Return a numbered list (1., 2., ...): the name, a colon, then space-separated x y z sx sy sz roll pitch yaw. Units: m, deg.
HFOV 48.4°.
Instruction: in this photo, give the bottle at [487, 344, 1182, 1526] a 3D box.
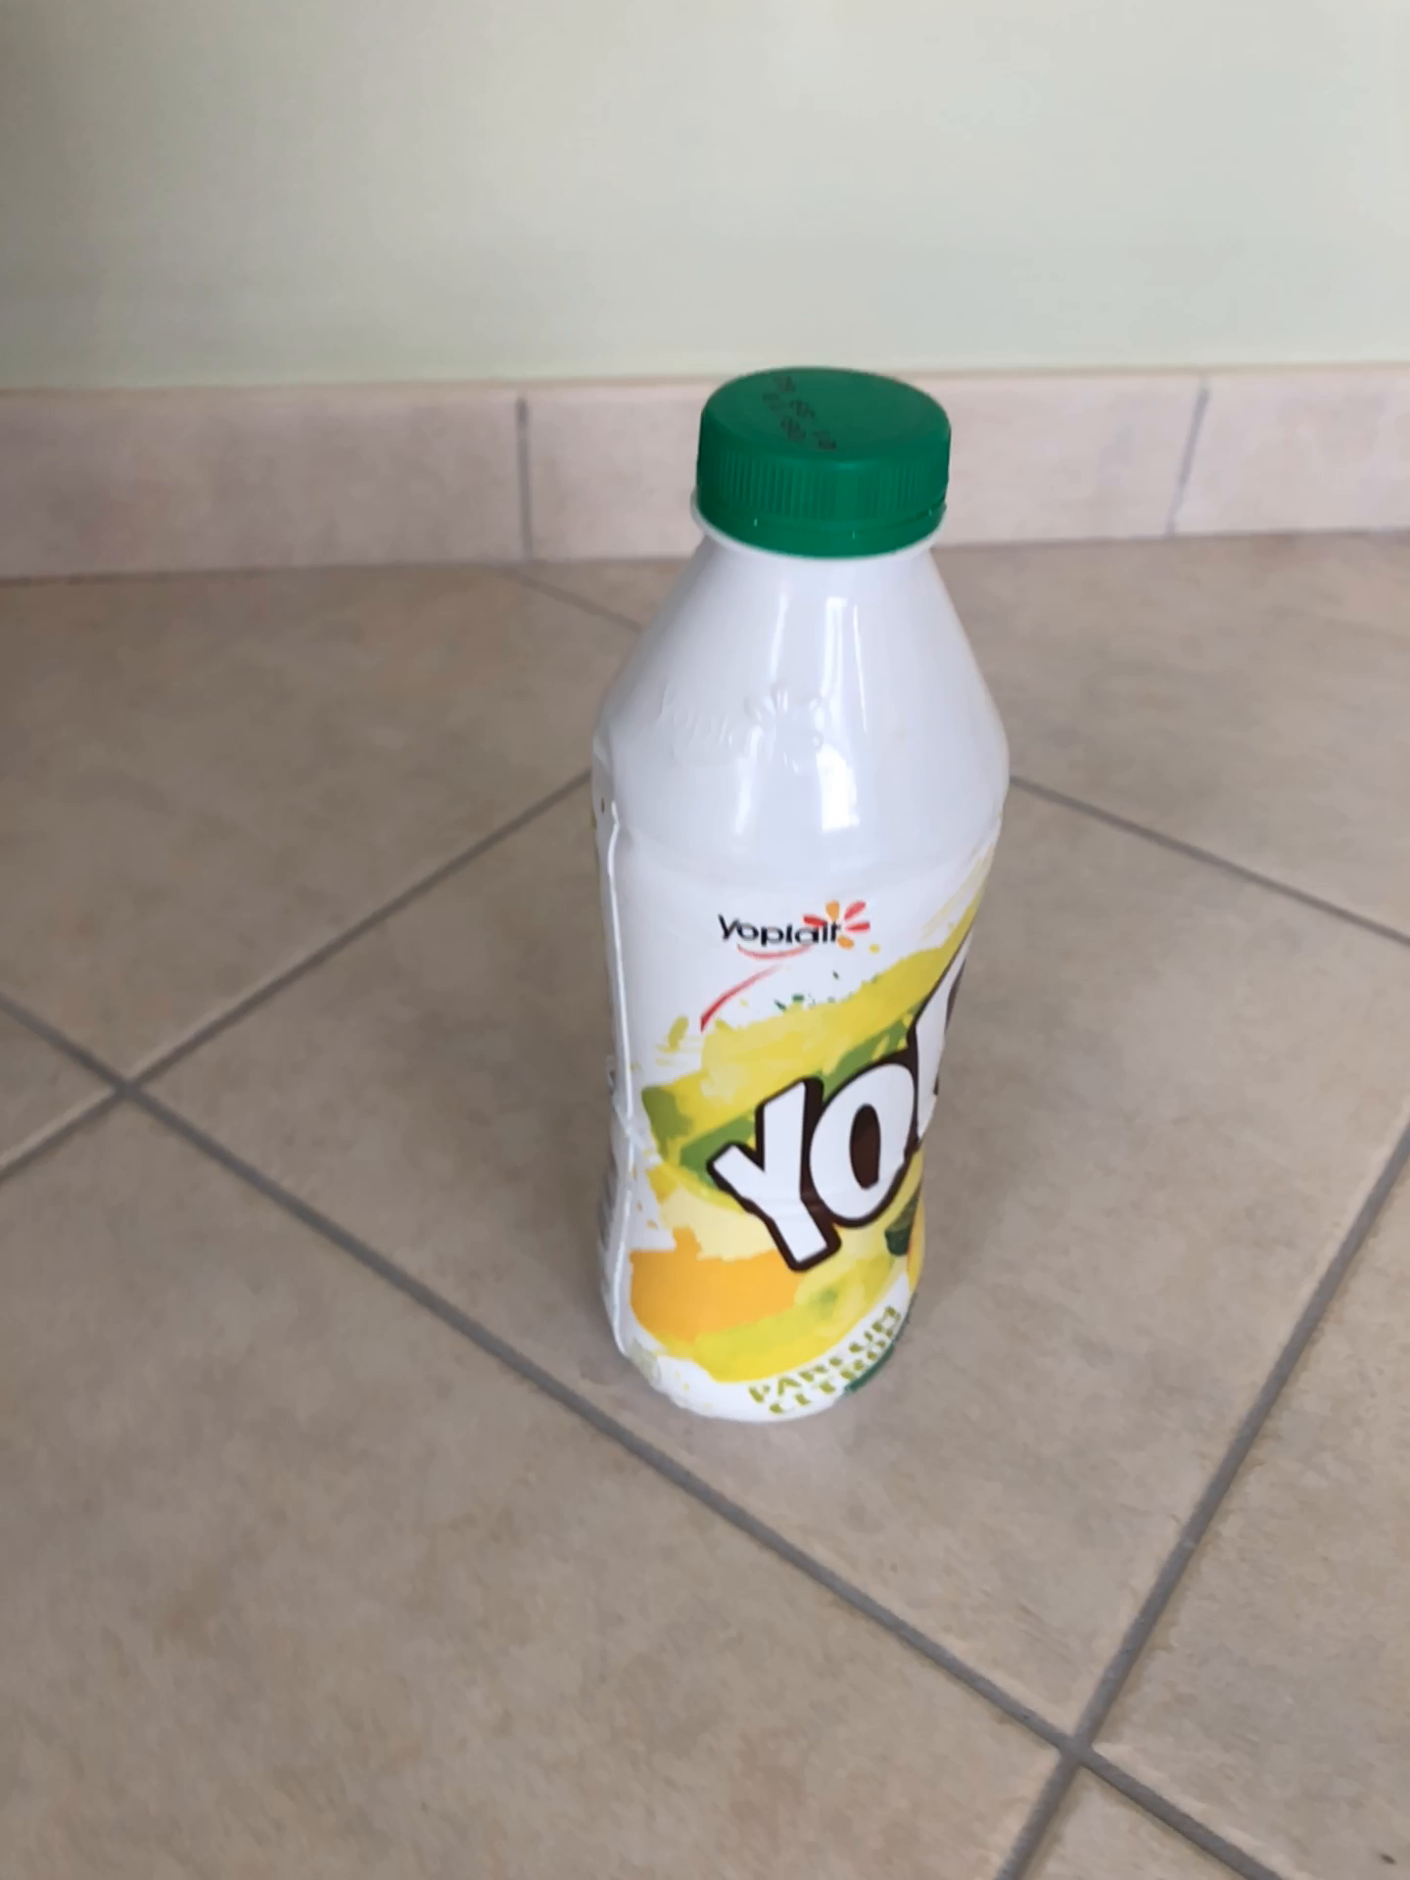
1. bottle: 0.016 0.011 0.327 0.080 0.229 0.080 1 40 -1
